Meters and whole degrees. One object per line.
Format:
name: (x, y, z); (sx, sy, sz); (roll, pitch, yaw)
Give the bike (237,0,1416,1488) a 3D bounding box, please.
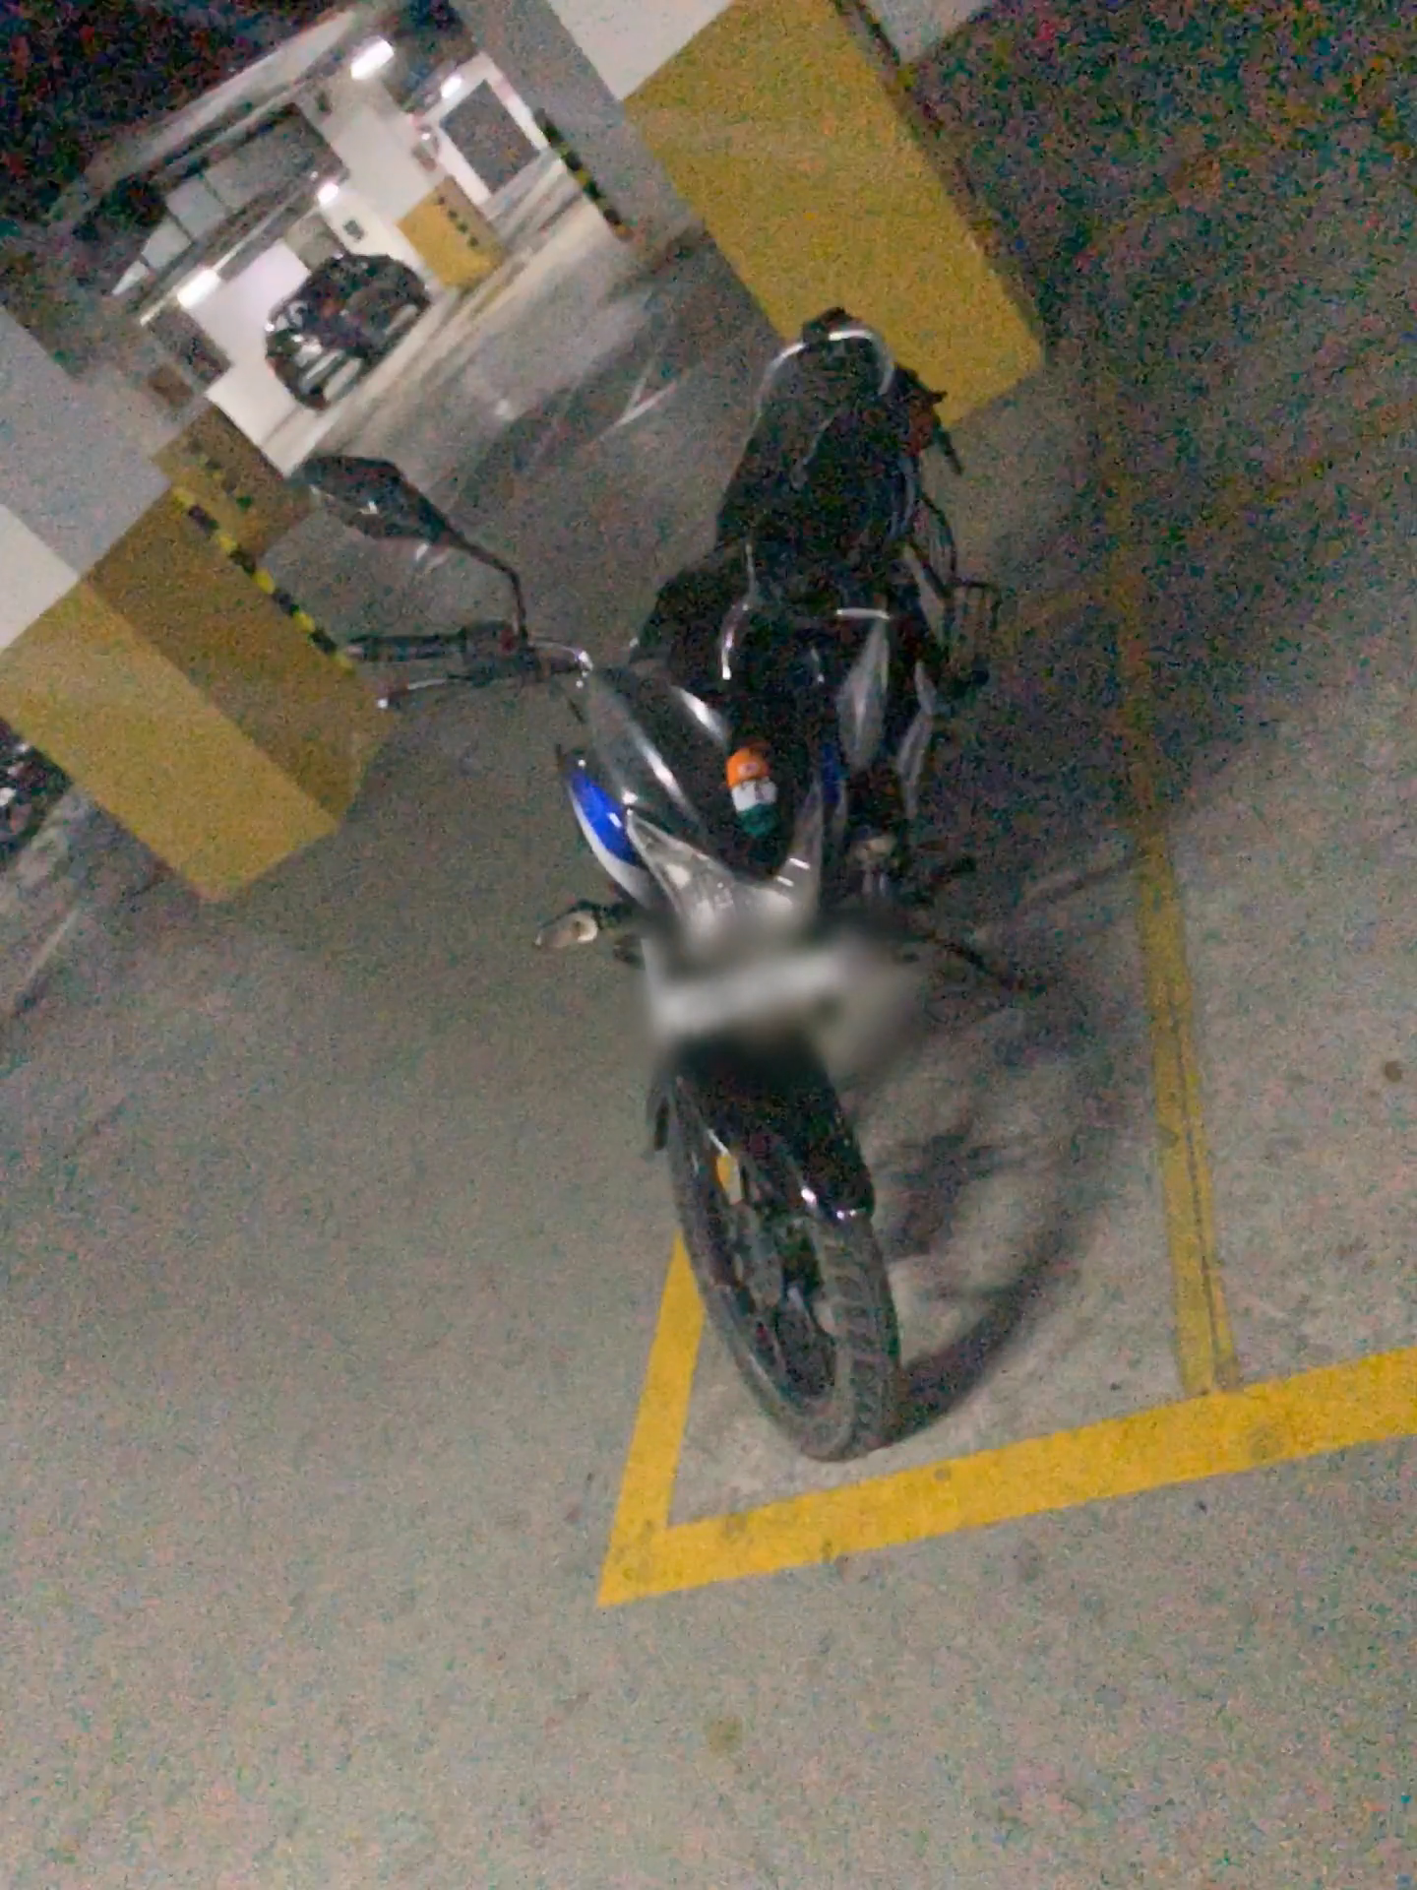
bike: (0.380, -0.530, 2.271); (0.851, 1.205, 2.220); (-27, 30, 28)
